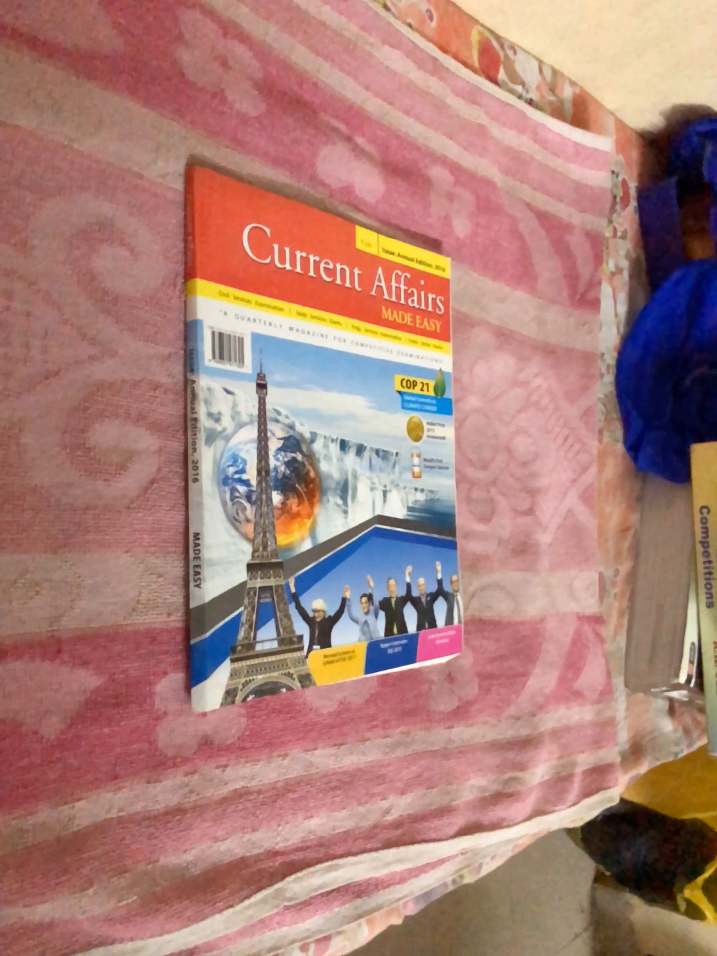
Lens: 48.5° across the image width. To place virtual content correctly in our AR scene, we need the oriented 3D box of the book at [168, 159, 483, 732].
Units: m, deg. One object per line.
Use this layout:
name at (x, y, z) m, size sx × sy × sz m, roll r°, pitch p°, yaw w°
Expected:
book at (-0.008, -0.015, 0.454) m, size 0.206 × 0.025 × 0.270 m, roll 2°, pitch 83°, yaw -45°
